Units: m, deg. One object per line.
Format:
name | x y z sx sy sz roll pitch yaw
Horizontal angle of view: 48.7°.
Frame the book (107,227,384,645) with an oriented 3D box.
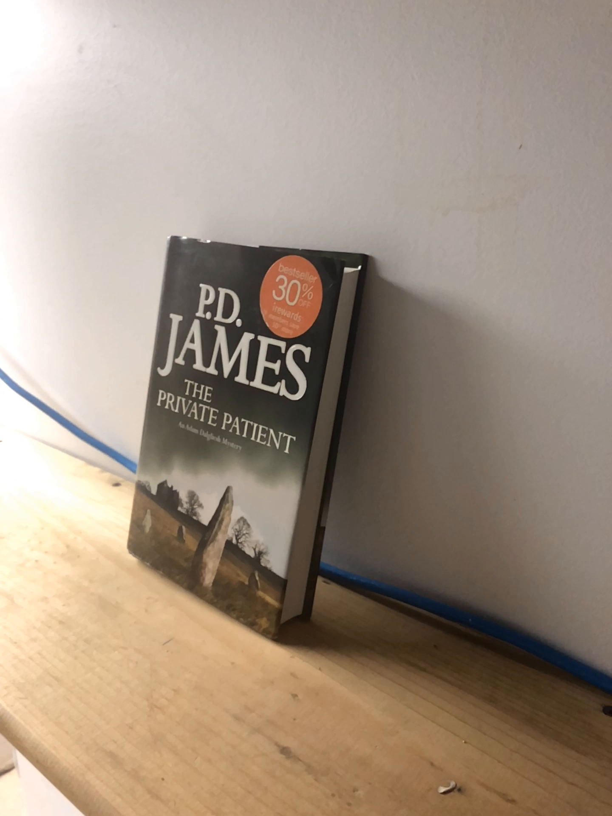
book | -0.053 0.004 0.448 0.181 0.230 0.040 17 10 43
